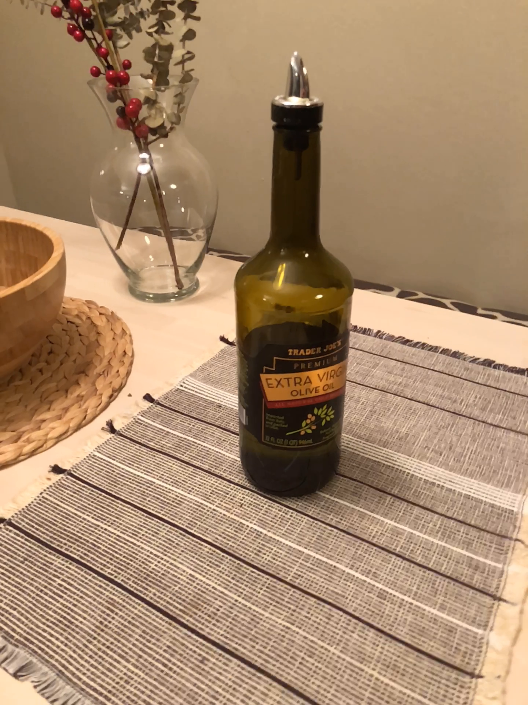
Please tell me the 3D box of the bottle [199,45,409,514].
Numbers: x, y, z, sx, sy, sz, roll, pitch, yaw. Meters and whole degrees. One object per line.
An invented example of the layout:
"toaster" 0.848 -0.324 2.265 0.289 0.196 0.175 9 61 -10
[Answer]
"bottle" 0.020 -0.042 0.409 0.091 0.304 0.095 0 30 0
